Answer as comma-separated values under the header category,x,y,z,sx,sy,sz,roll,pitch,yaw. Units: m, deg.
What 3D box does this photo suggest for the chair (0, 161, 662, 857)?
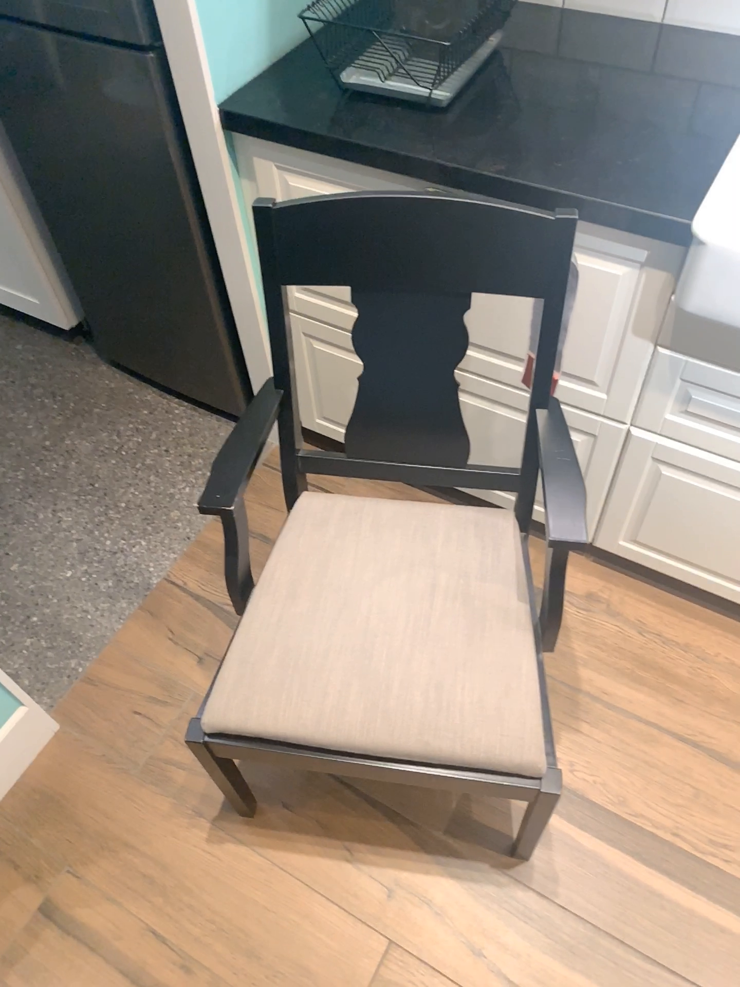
category,x,y,z,sx,sy,sz,roll,pitch,yaw
chair,0.012,0.086,1.138,0.570,0.887,0.592,5,53,8
